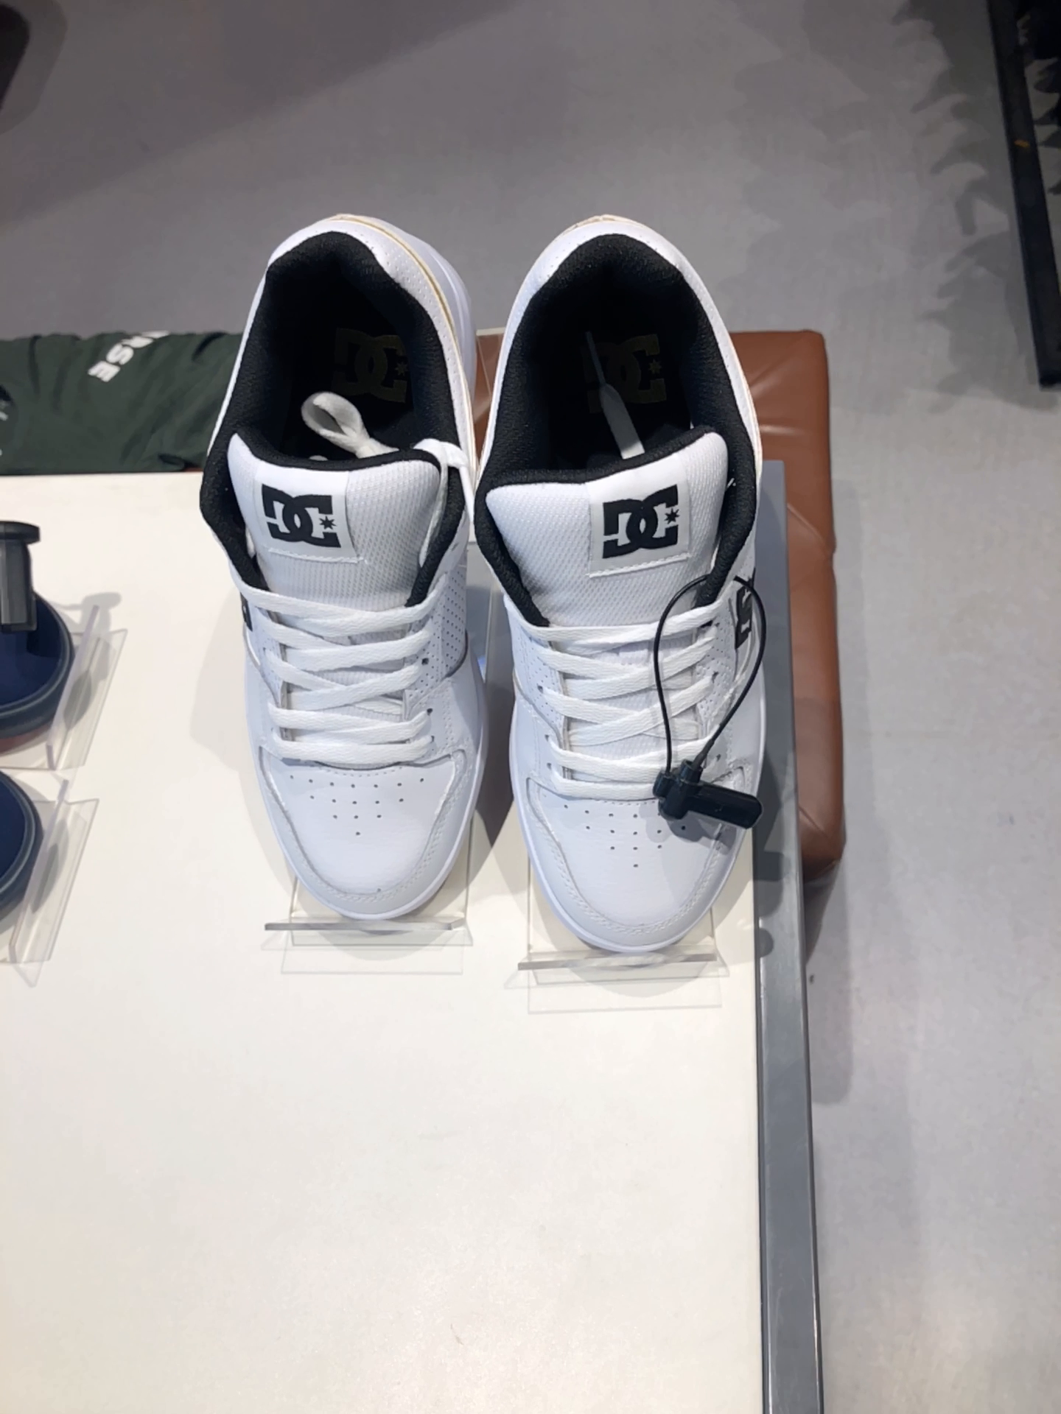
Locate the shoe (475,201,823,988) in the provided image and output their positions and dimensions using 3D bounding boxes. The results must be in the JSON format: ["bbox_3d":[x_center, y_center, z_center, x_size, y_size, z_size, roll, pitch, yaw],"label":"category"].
[{"bbox_3d":[0.041,-0.038,0.414,0.095,0.249,0.102,-2,20,4],"label":"shoe"}]

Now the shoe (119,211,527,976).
[{"bbox_3d":[-0.062,-0.043,0.438,0.103,0.259,0.102,2,22,8],"label":"shoe"}]
